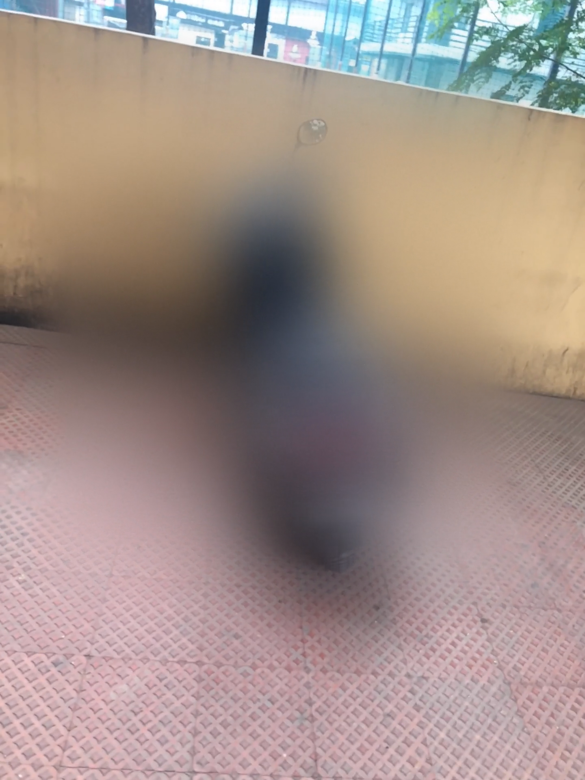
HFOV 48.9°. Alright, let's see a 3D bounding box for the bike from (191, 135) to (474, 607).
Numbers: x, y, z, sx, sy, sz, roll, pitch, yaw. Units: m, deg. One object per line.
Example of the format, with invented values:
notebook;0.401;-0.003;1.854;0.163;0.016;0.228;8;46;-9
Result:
bike;-0.019;-0.195;2.406;0.578;1.139;1.489;5;28;-11
